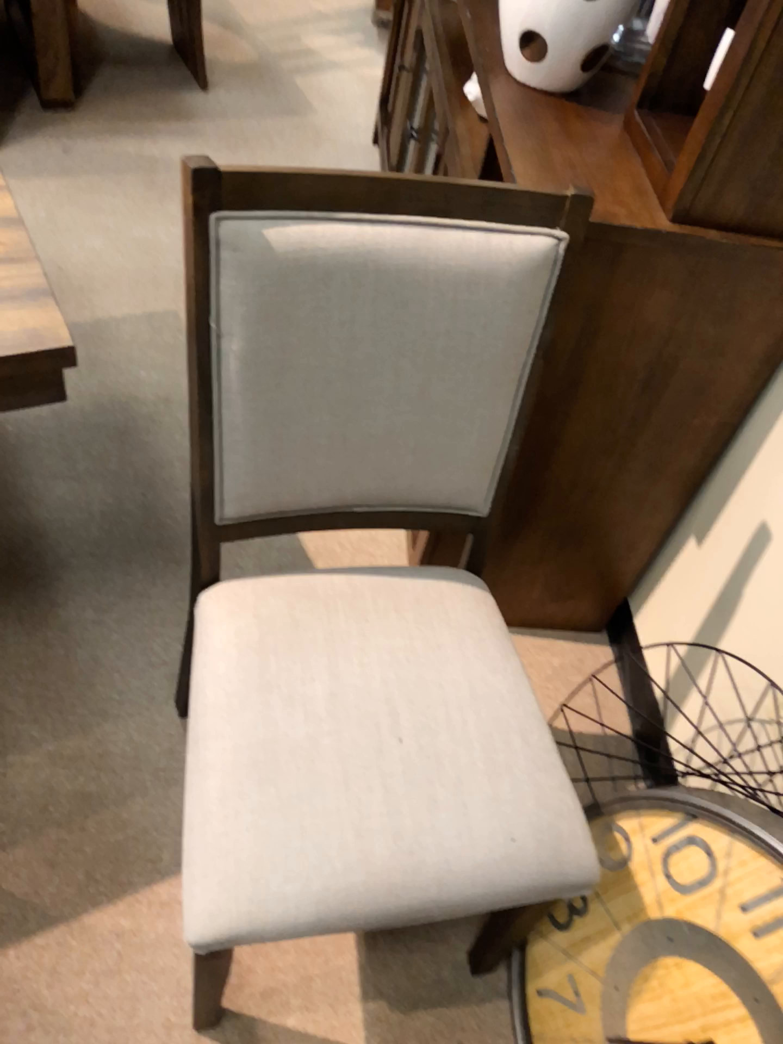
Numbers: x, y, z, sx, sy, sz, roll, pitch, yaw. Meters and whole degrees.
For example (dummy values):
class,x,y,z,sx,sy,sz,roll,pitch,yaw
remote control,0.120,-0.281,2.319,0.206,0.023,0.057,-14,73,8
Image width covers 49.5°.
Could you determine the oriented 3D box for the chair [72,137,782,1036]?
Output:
class,x,y,z,sx,sy,sz,roll,pitch,yaw
chair,-0.056,0.159,0.955,0.460,0.925,0.492,-2,50,-15
